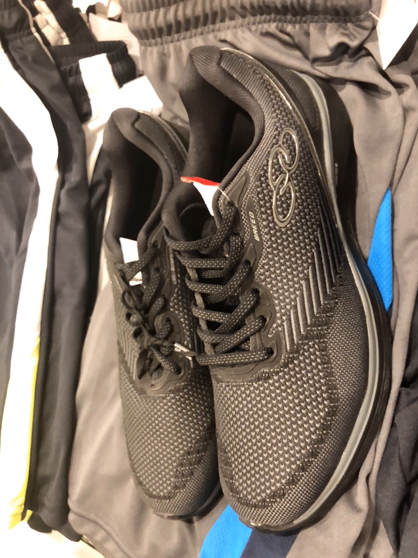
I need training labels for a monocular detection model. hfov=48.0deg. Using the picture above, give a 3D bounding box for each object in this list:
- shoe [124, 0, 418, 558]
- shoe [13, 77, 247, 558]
[{"bbox_3d":[0.034,-0.009,0.255,0.100,0.100,0.280,-10,72,39],"label":"shoe"},{"bbox_3d":[-0.045,0.026,0.320,0.100,0.100,0.270,-10,72,39],"label":"shoe"}]
